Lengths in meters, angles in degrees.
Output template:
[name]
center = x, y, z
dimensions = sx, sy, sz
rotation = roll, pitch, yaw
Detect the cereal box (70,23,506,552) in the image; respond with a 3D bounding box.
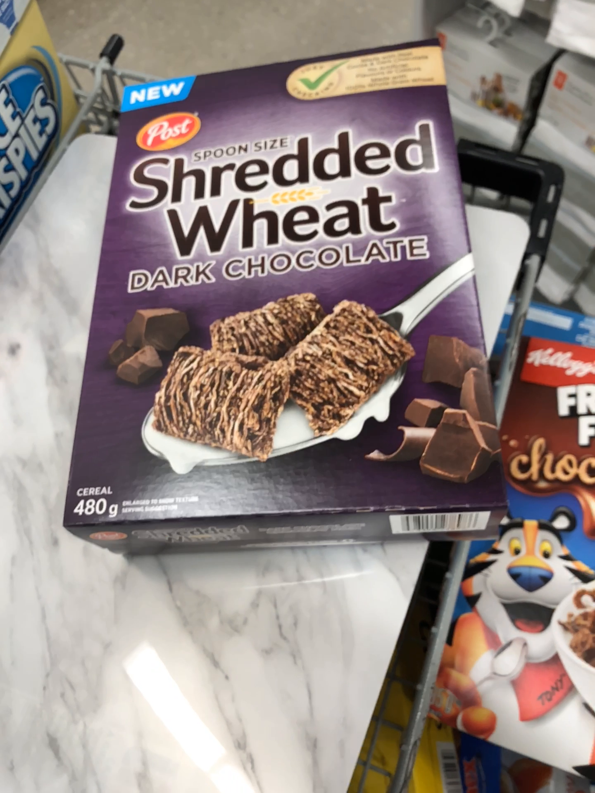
[cereal box]
center = -0.005, -0.068, 0.379
dimensions = 0.190, 0.070, 0.290
rotation = -3, 66, 6
